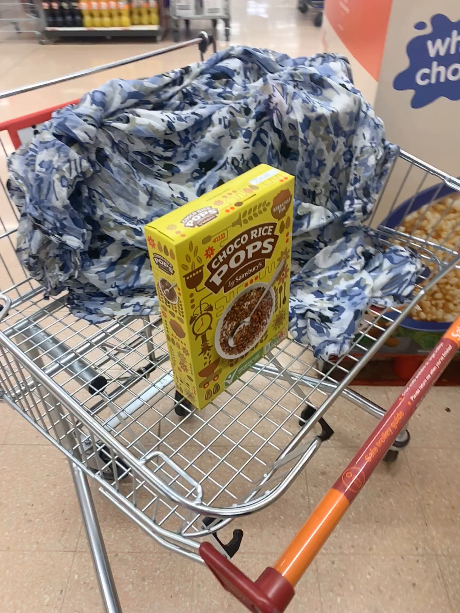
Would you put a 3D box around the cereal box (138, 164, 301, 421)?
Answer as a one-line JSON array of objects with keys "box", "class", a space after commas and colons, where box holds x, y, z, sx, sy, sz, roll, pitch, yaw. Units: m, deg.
[{"box": [0.001, -0.016, 0.603, 0.060, 0.267, 0.201, 28, 48, 33], "class": "cereal box"}]
